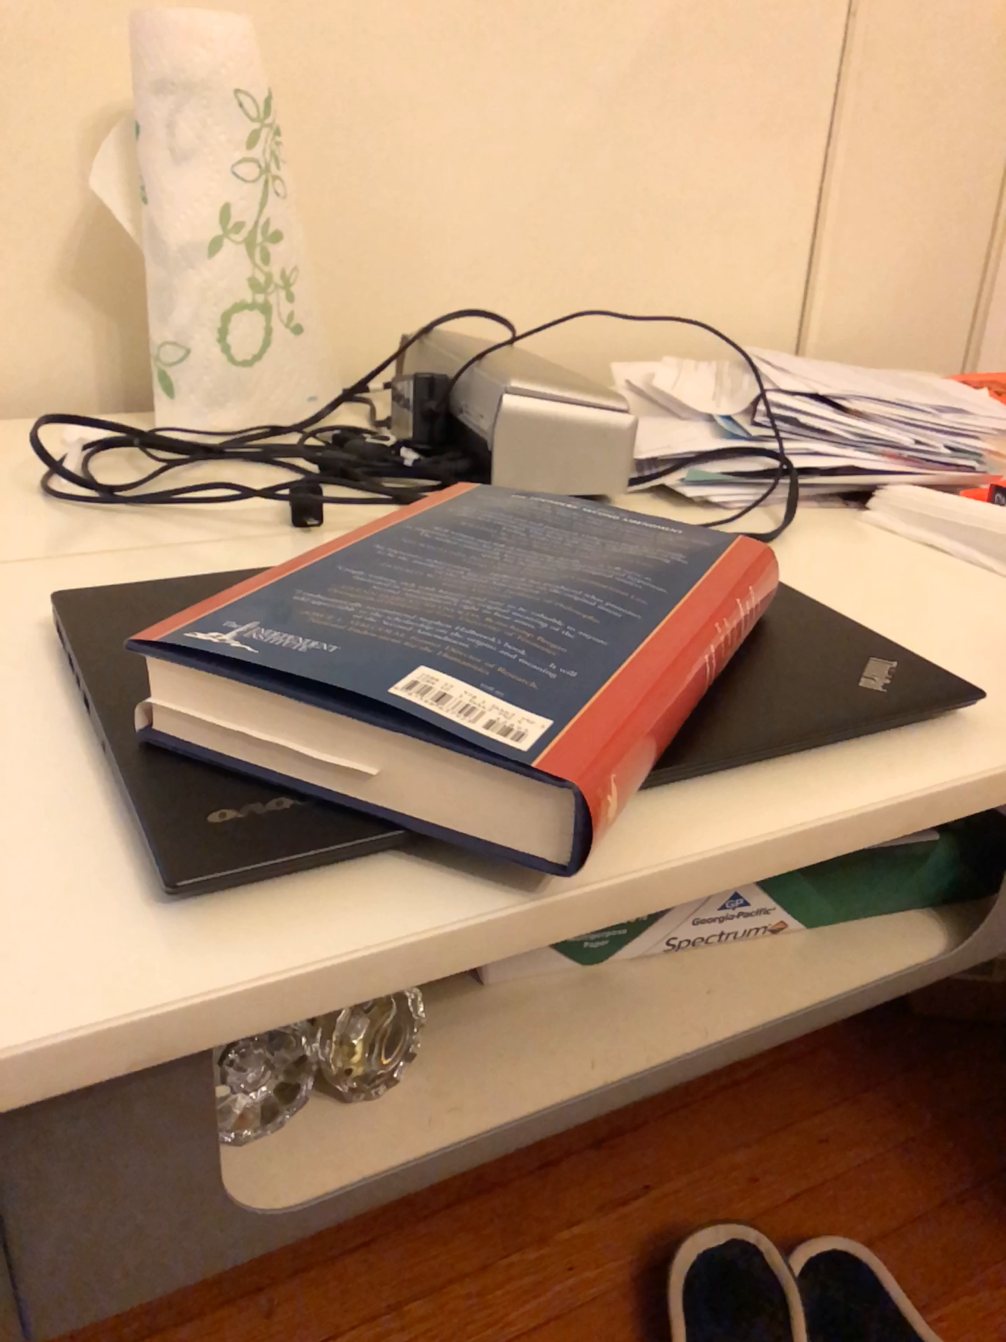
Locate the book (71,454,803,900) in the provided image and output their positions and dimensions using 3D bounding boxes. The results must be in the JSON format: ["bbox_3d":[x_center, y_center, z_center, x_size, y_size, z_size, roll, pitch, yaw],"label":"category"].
[{"bbox_3d":[-0.002,-0.022,0.409,0.170,0.040,0.241,12,28,22],"label":"book"}]
